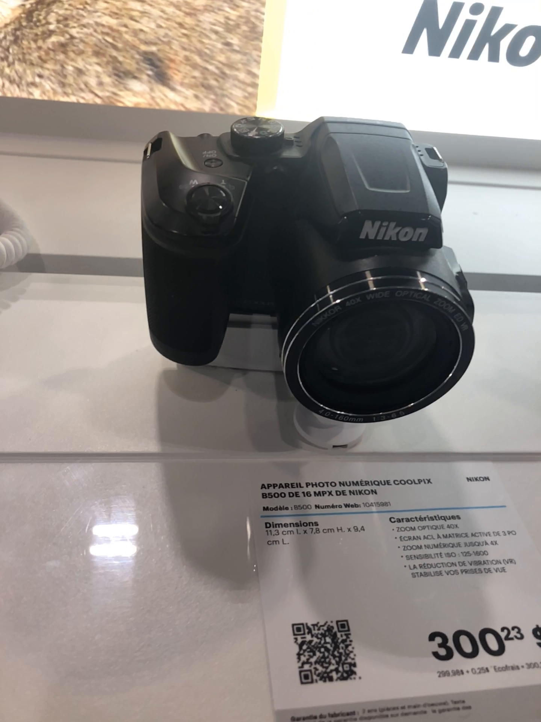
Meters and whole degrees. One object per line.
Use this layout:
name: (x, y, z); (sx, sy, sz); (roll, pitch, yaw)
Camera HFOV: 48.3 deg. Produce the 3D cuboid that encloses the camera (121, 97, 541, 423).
camera: (0.013, -0.034, 0.200); (0.111, 0.069, 0.085); (1, 39, -8)
